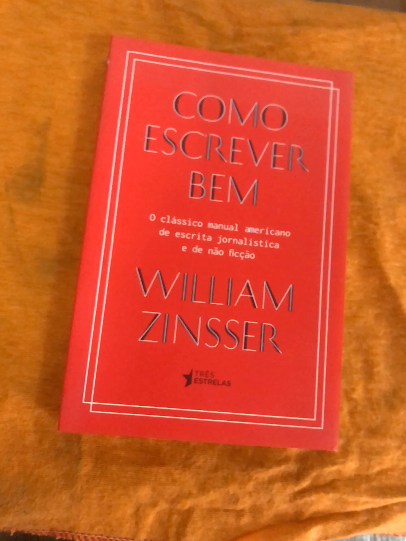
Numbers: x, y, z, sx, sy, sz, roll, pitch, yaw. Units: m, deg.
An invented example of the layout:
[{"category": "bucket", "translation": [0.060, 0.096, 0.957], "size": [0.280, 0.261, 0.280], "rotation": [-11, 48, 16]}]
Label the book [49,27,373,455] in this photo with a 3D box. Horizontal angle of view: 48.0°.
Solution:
[{"category": "book", "translation": [0.010, -0.017, 0.229], "size": [0.140, 0.020, 0.195], "rotation": [6, 81, -5]}]
